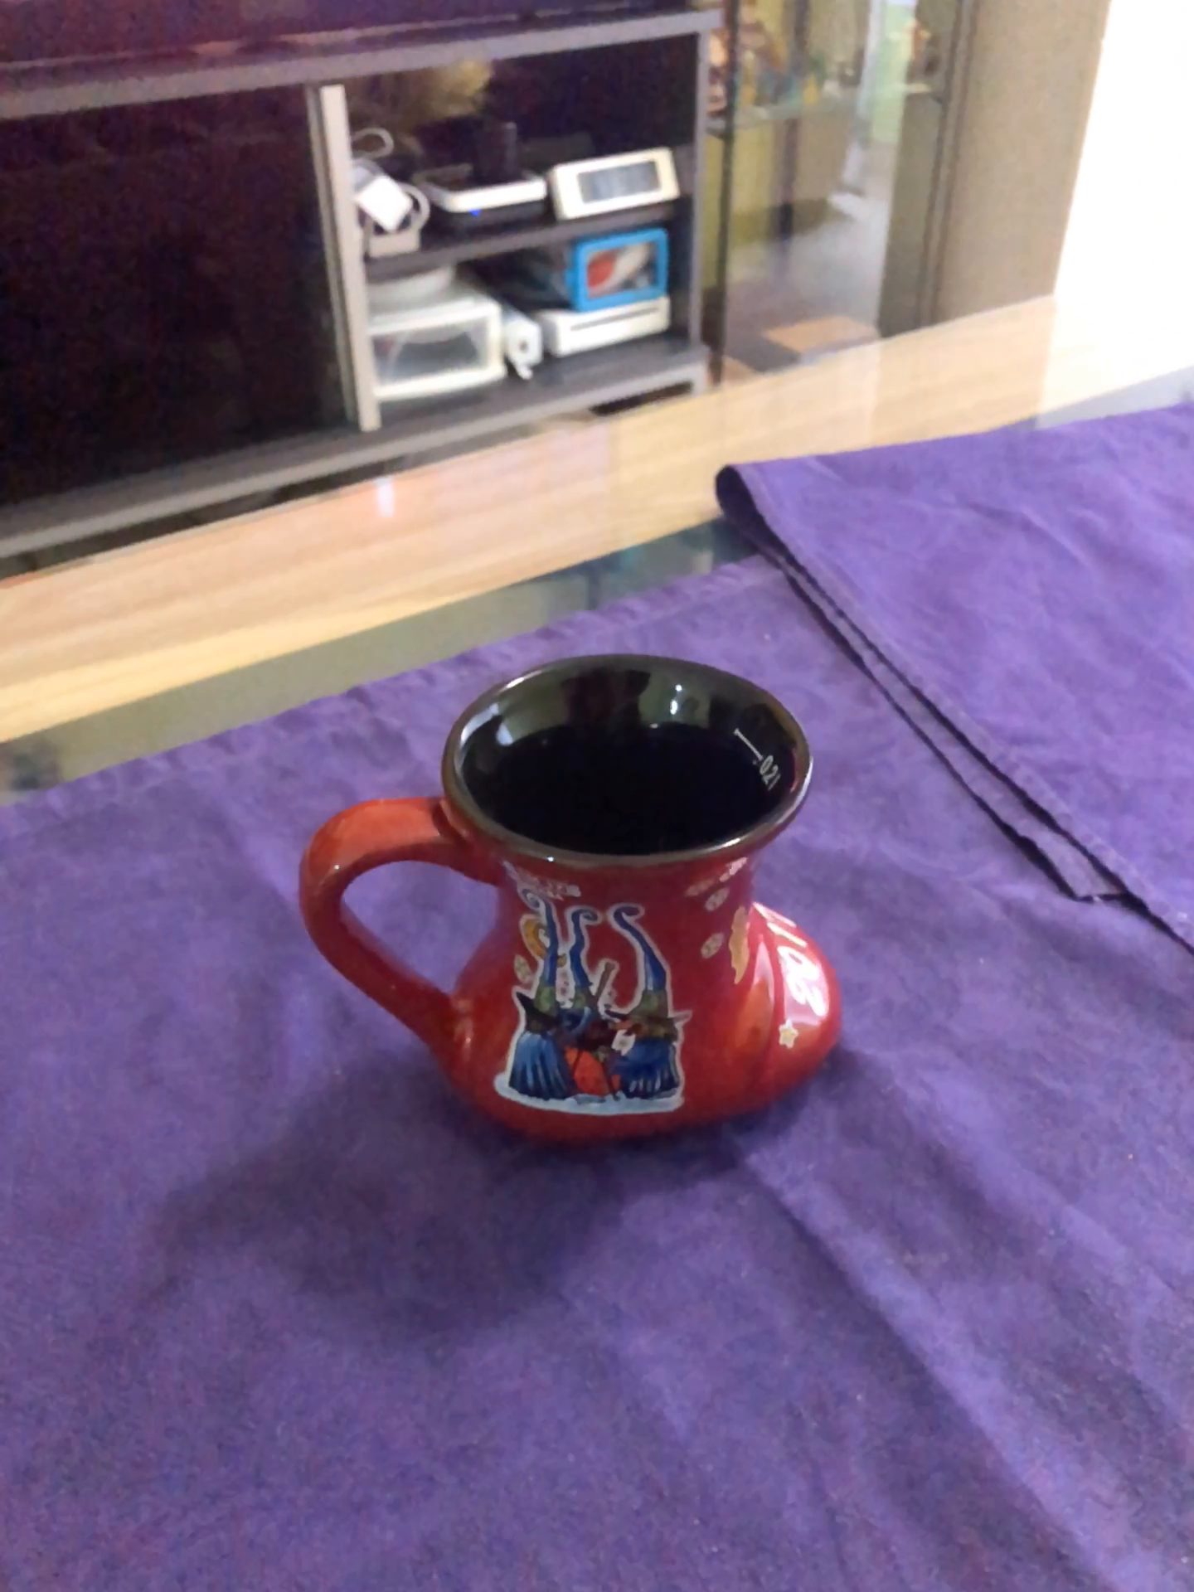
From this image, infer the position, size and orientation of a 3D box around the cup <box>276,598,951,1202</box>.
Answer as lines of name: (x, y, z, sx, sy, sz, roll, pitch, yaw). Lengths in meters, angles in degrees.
cup: (-0.001, 0.020, 0.290, 0.120, 0.090, 0.070, -8, 38, -10)
